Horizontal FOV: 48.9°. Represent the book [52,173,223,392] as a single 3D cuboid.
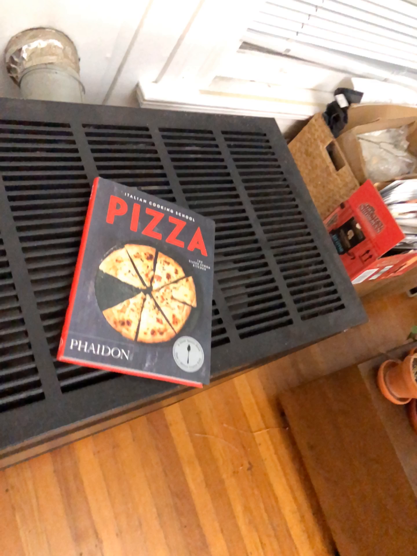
[{"bbox_3d":[-0.067,0.002,0.538,0.180,0.020,0.231,17,57,-25],"label":"book"}]
